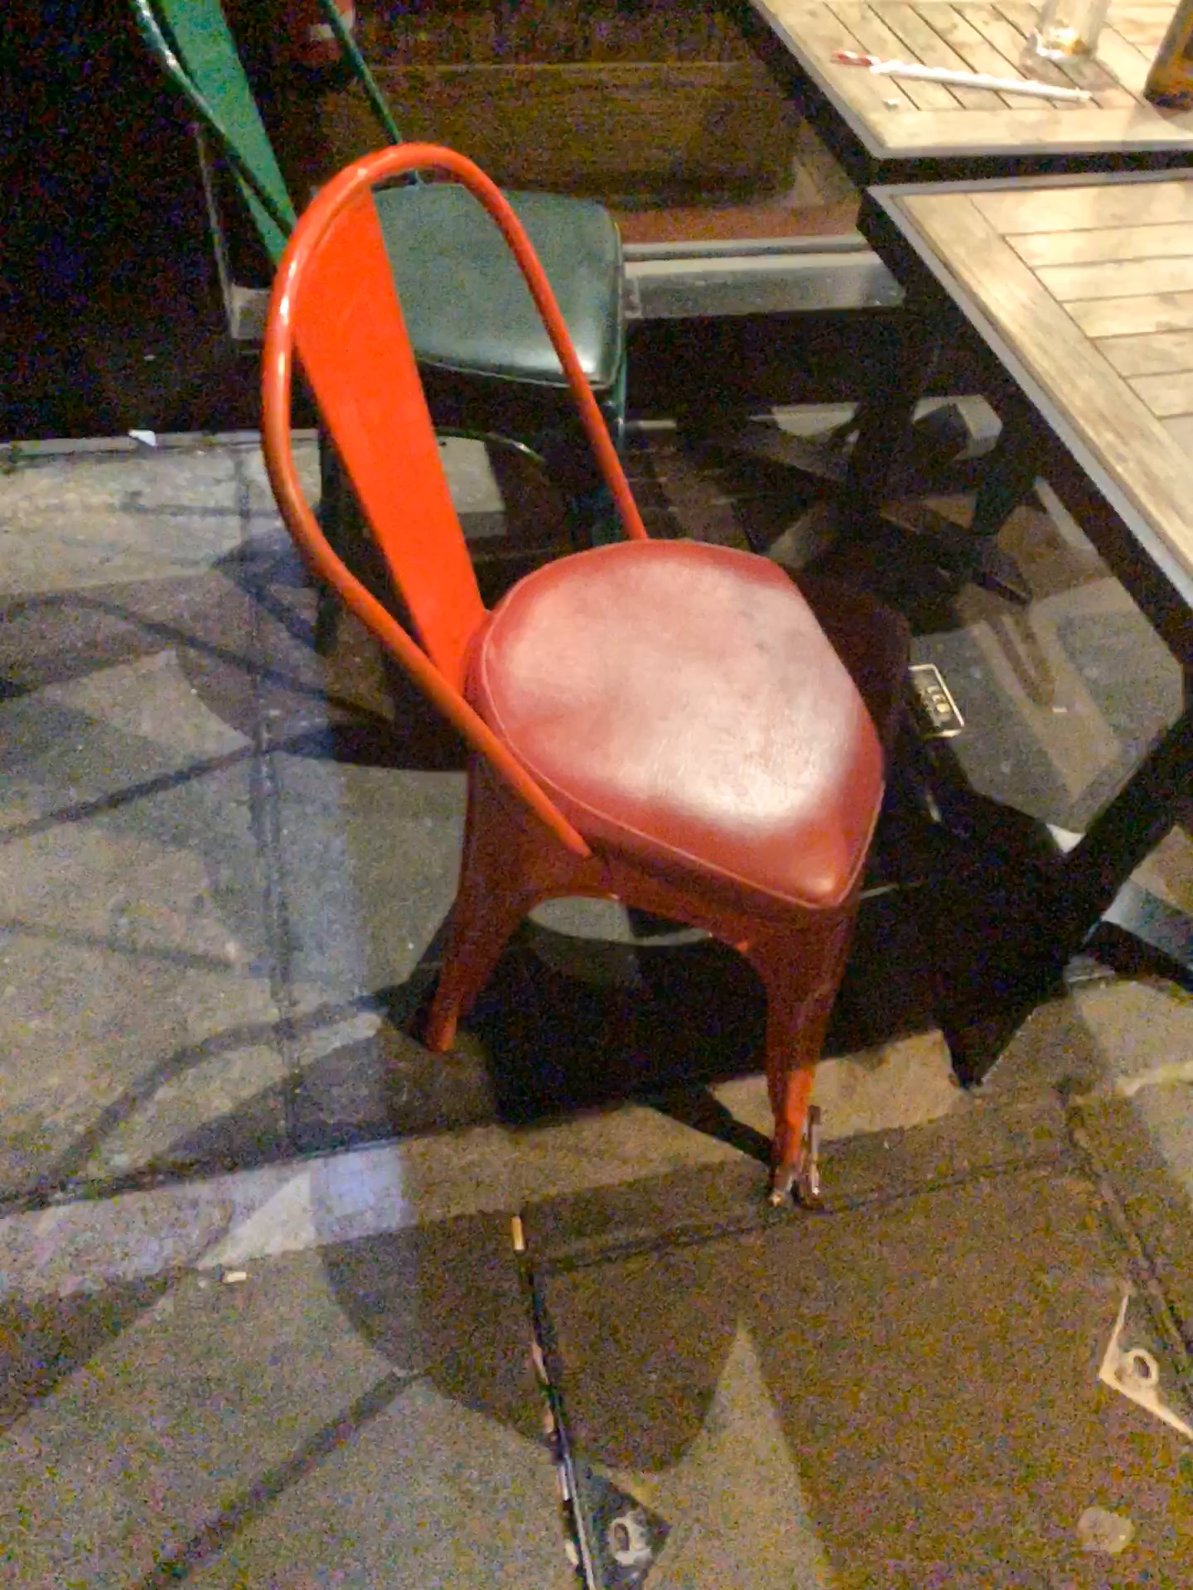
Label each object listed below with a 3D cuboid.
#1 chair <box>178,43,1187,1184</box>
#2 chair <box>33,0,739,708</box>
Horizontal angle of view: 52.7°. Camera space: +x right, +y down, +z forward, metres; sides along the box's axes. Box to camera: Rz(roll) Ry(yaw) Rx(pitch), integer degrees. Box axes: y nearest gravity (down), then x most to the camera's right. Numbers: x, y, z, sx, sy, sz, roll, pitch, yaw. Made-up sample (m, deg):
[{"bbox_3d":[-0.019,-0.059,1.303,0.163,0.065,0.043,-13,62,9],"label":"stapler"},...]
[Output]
[{"bbox_3d":[0.049,-0.080,1.047,0.510,0.813,0.434,13,52,4],"label":"chair"},{"bbox_3d":[-0.149,-0.549,1.370,0.510,0.833,0.433,7,57,4],"label":"chair"}]
